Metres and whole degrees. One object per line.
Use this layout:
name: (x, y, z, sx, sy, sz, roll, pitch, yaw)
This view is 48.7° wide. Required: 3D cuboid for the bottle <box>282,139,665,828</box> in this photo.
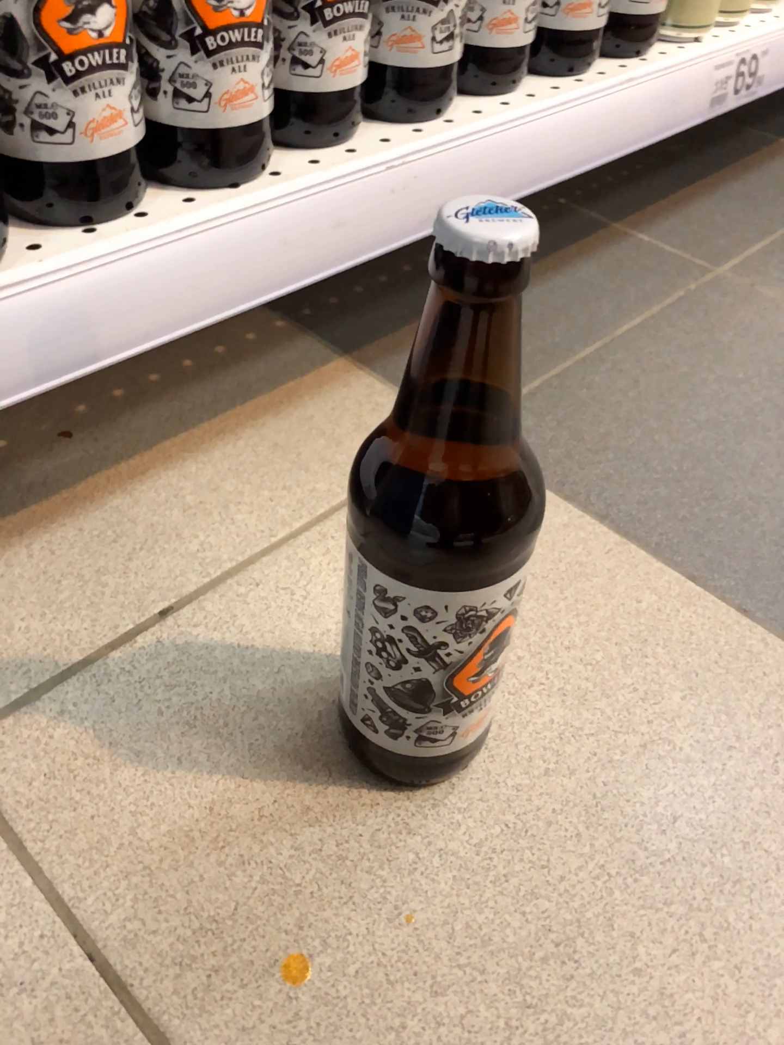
bottle: (0.015, 0.004, 0.310, 0.070, 0.239, 0.075, 3, 44, -3)
